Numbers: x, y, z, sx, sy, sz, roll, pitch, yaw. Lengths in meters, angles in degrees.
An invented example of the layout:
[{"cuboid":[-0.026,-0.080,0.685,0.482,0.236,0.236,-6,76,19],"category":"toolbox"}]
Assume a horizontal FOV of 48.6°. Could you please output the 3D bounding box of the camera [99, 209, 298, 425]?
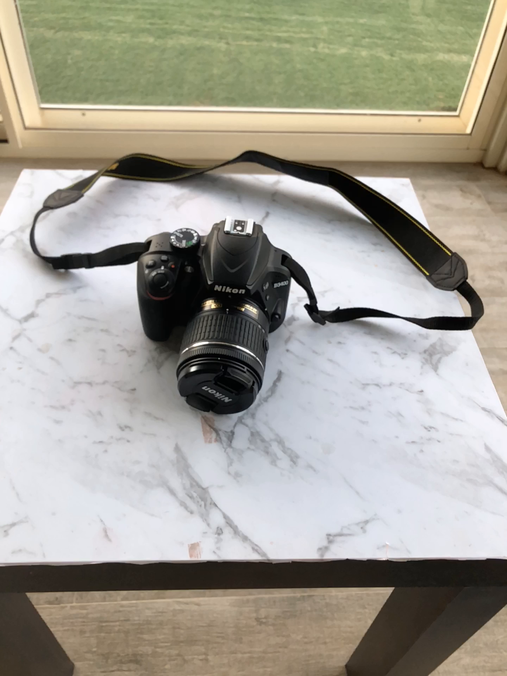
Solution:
[{"cuboid":[-0.032,-0.019,0.418,0.121,0.076,0.138,4,49,0],"category":"camera"}]
